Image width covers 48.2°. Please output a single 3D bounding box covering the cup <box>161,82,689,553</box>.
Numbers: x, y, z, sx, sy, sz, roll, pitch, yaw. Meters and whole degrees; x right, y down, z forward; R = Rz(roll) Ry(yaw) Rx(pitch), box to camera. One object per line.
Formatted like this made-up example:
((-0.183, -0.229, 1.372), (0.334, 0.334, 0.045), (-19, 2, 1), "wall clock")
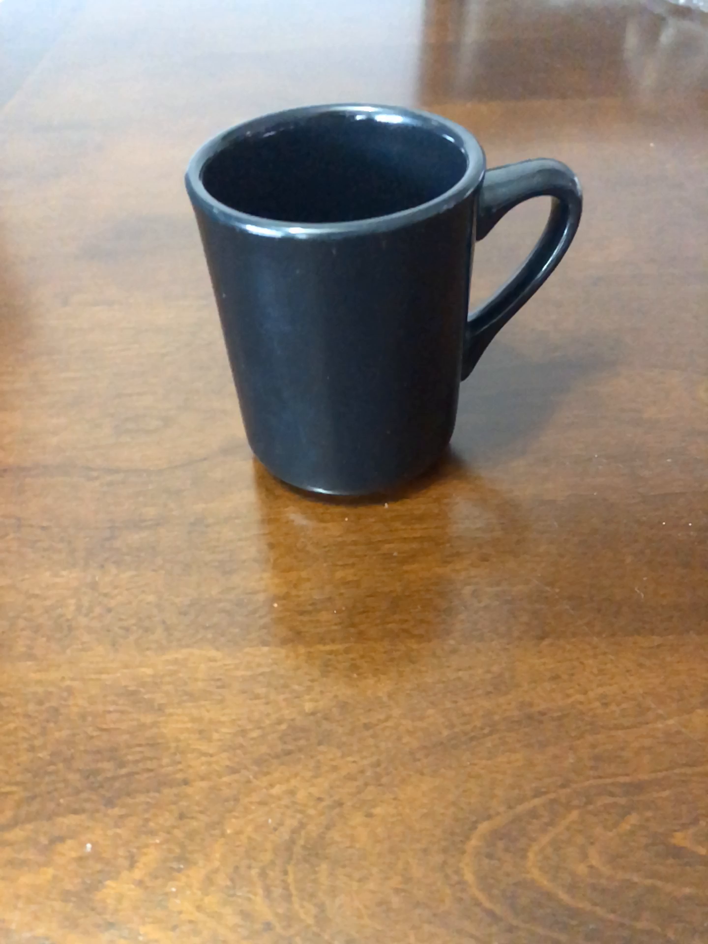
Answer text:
((0.013, -0.050, 0.243), (0.120, 0.090, 0.090), (-11, 45, -7), "cup")
